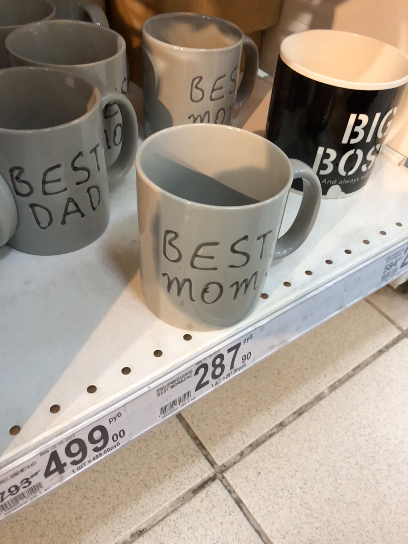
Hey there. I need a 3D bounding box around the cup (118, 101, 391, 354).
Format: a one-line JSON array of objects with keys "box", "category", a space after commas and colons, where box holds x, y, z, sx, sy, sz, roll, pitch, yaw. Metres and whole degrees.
[{"box": [0.025, -0.035, 0.324, 0.143, 0.121, 0.101, -12, 46, -14], "category": "cup"}]
